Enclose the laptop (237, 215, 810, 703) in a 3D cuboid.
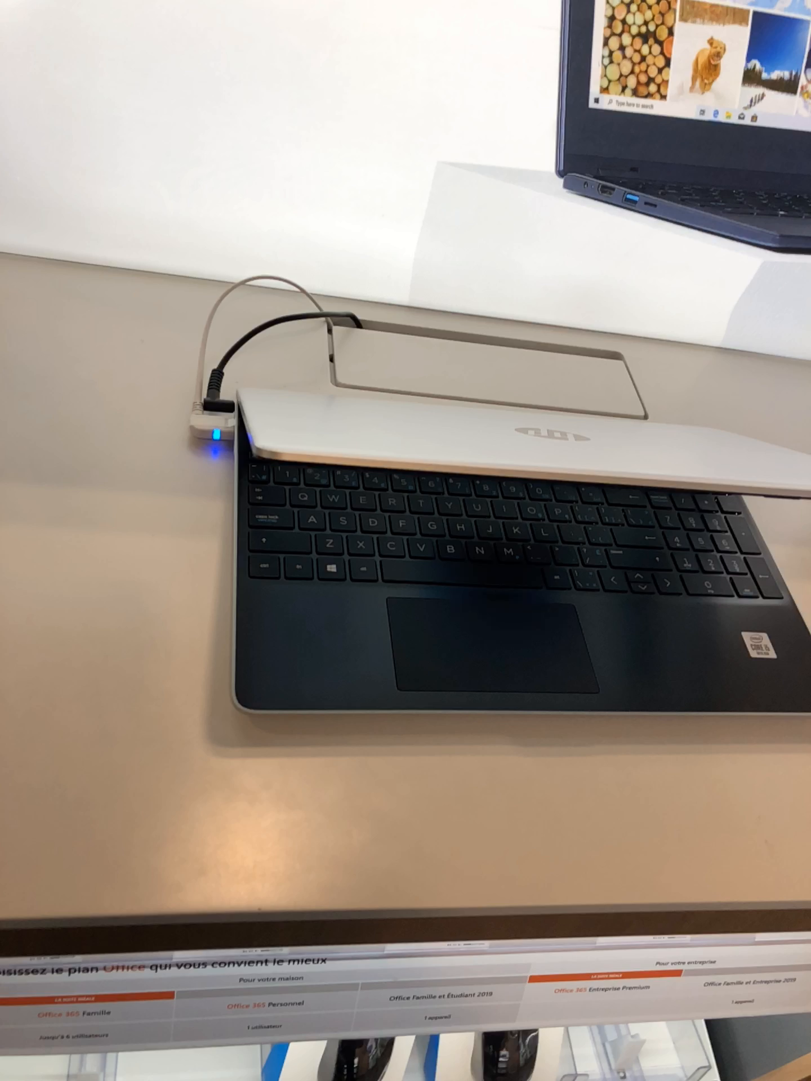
[{"bbox_3d":[0.085,-0.043,0.508,0.346,0.131,0.230,2,48,-14],"label":"laptop"}]
